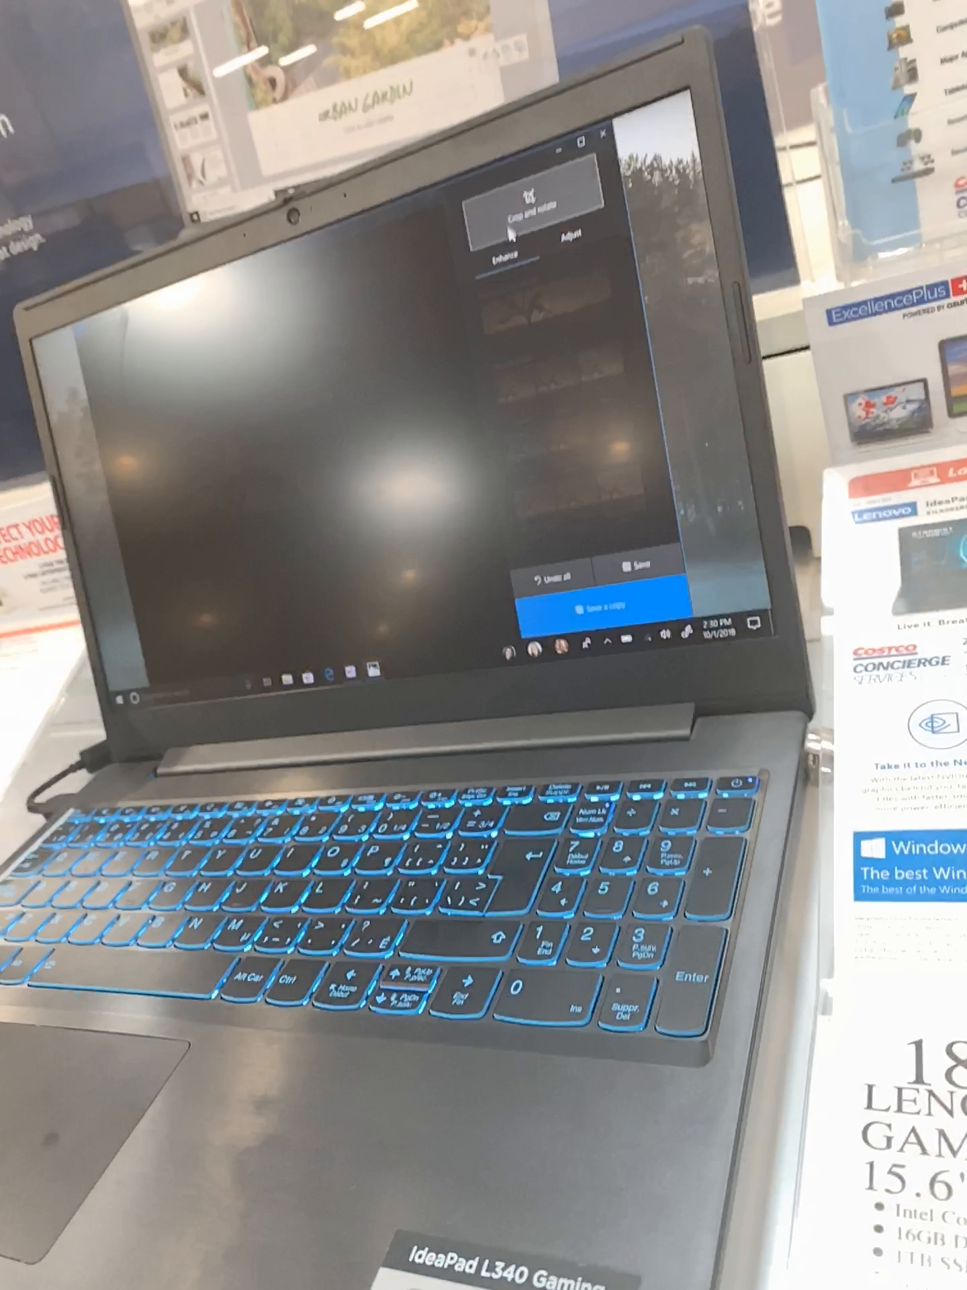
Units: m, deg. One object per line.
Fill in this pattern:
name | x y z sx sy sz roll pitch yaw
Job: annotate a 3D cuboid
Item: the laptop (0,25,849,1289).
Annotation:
laptop | -0.089 -0.009 0.325 0.340 0.214 0.330 -7 28 27
